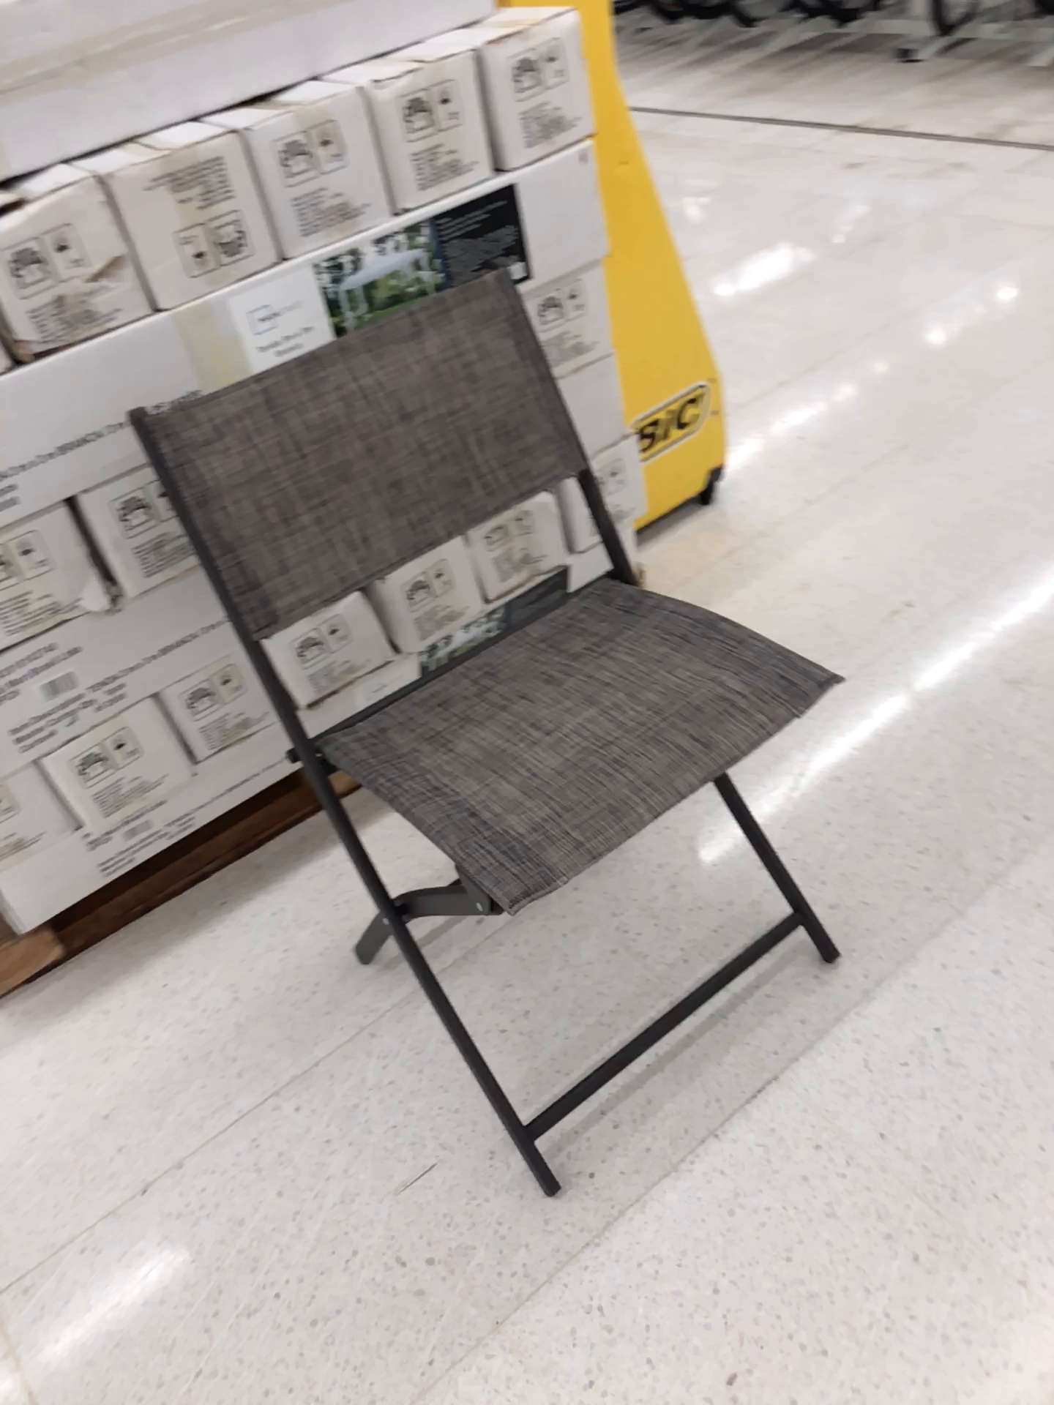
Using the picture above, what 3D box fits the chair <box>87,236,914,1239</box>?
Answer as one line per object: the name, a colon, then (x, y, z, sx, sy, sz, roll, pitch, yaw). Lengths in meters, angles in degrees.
chair: (0.014, 0.018, 1.203, 0.511, 0.754, 0.503, -31, 42, -23)
